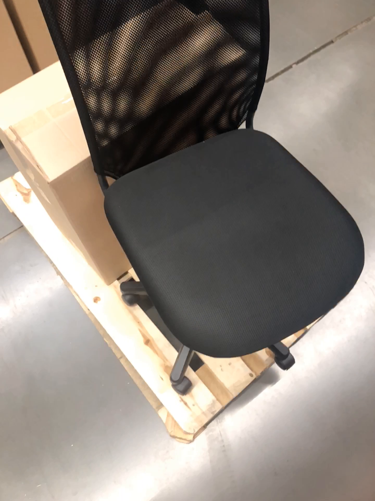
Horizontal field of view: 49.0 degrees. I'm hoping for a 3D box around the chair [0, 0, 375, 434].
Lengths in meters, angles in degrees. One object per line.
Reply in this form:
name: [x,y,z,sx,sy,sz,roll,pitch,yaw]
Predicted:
chair: [0.109,-0.066,0.884,0.601,1.035,0.572,-27,66,-11]
